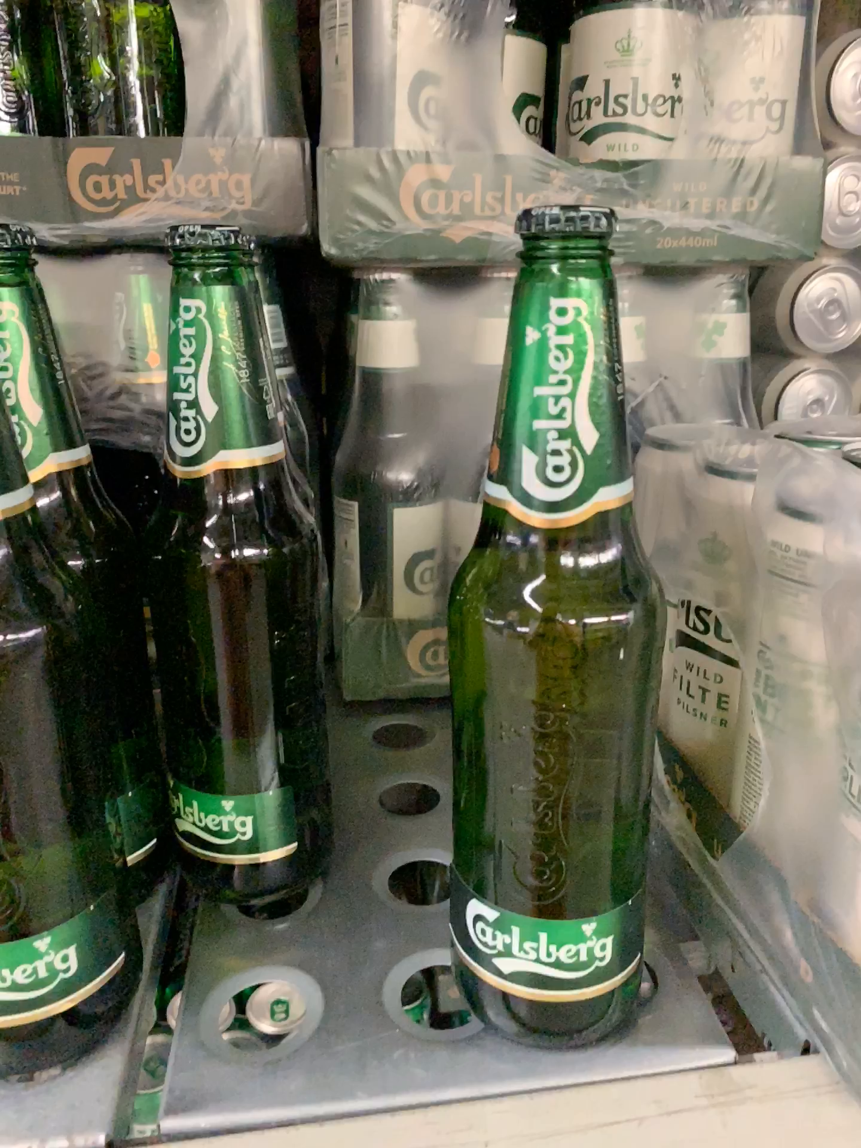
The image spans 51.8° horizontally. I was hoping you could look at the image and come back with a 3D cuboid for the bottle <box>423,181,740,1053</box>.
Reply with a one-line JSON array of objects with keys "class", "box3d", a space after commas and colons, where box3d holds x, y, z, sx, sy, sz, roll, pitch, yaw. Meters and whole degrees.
[{"class": "bottle", "box3d": [0.036, 0.020, 0.267, 0.071, 0.249, 0.060, 0, 18, 2]}]
